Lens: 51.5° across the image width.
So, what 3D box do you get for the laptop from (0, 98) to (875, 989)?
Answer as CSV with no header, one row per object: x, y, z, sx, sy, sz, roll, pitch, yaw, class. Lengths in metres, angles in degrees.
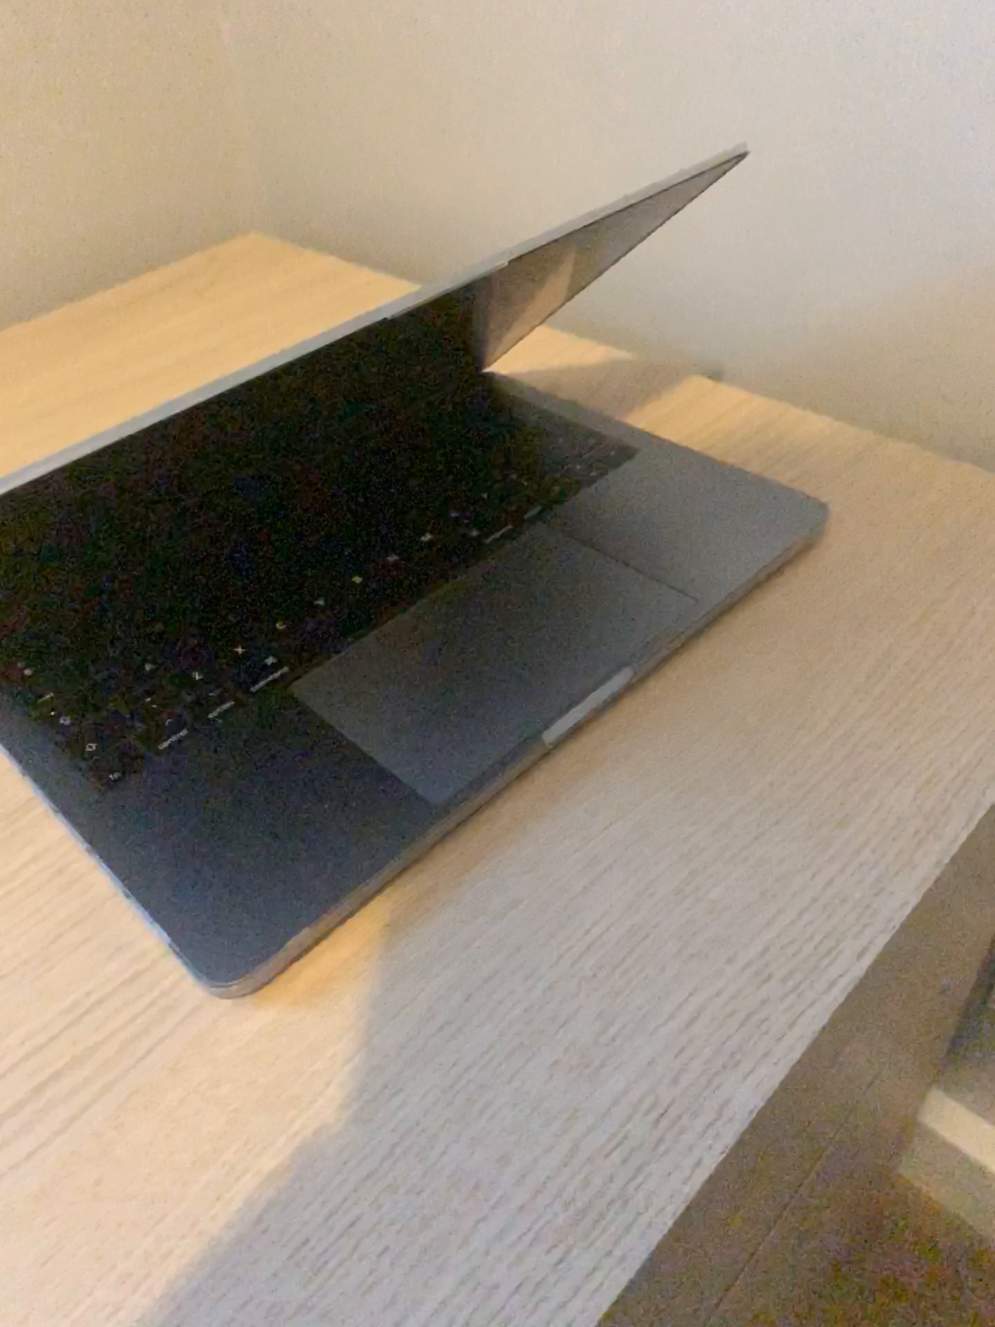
-0.047,-0.080,0.361,0.290,0.130,0.205,-36,48,-29,laptop
